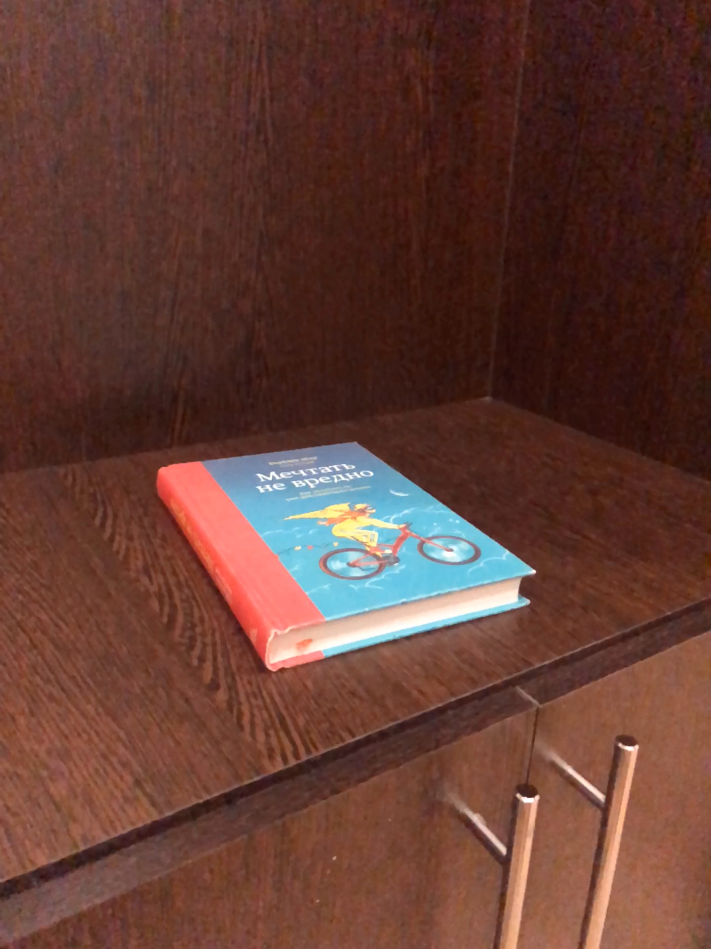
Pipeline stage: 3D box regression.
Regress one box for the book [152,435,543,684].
[{"bbox_3d":[-0.019,0.031,0.452,0.145,0.025,0.211,-9,25,-25],"label":"book"}]
